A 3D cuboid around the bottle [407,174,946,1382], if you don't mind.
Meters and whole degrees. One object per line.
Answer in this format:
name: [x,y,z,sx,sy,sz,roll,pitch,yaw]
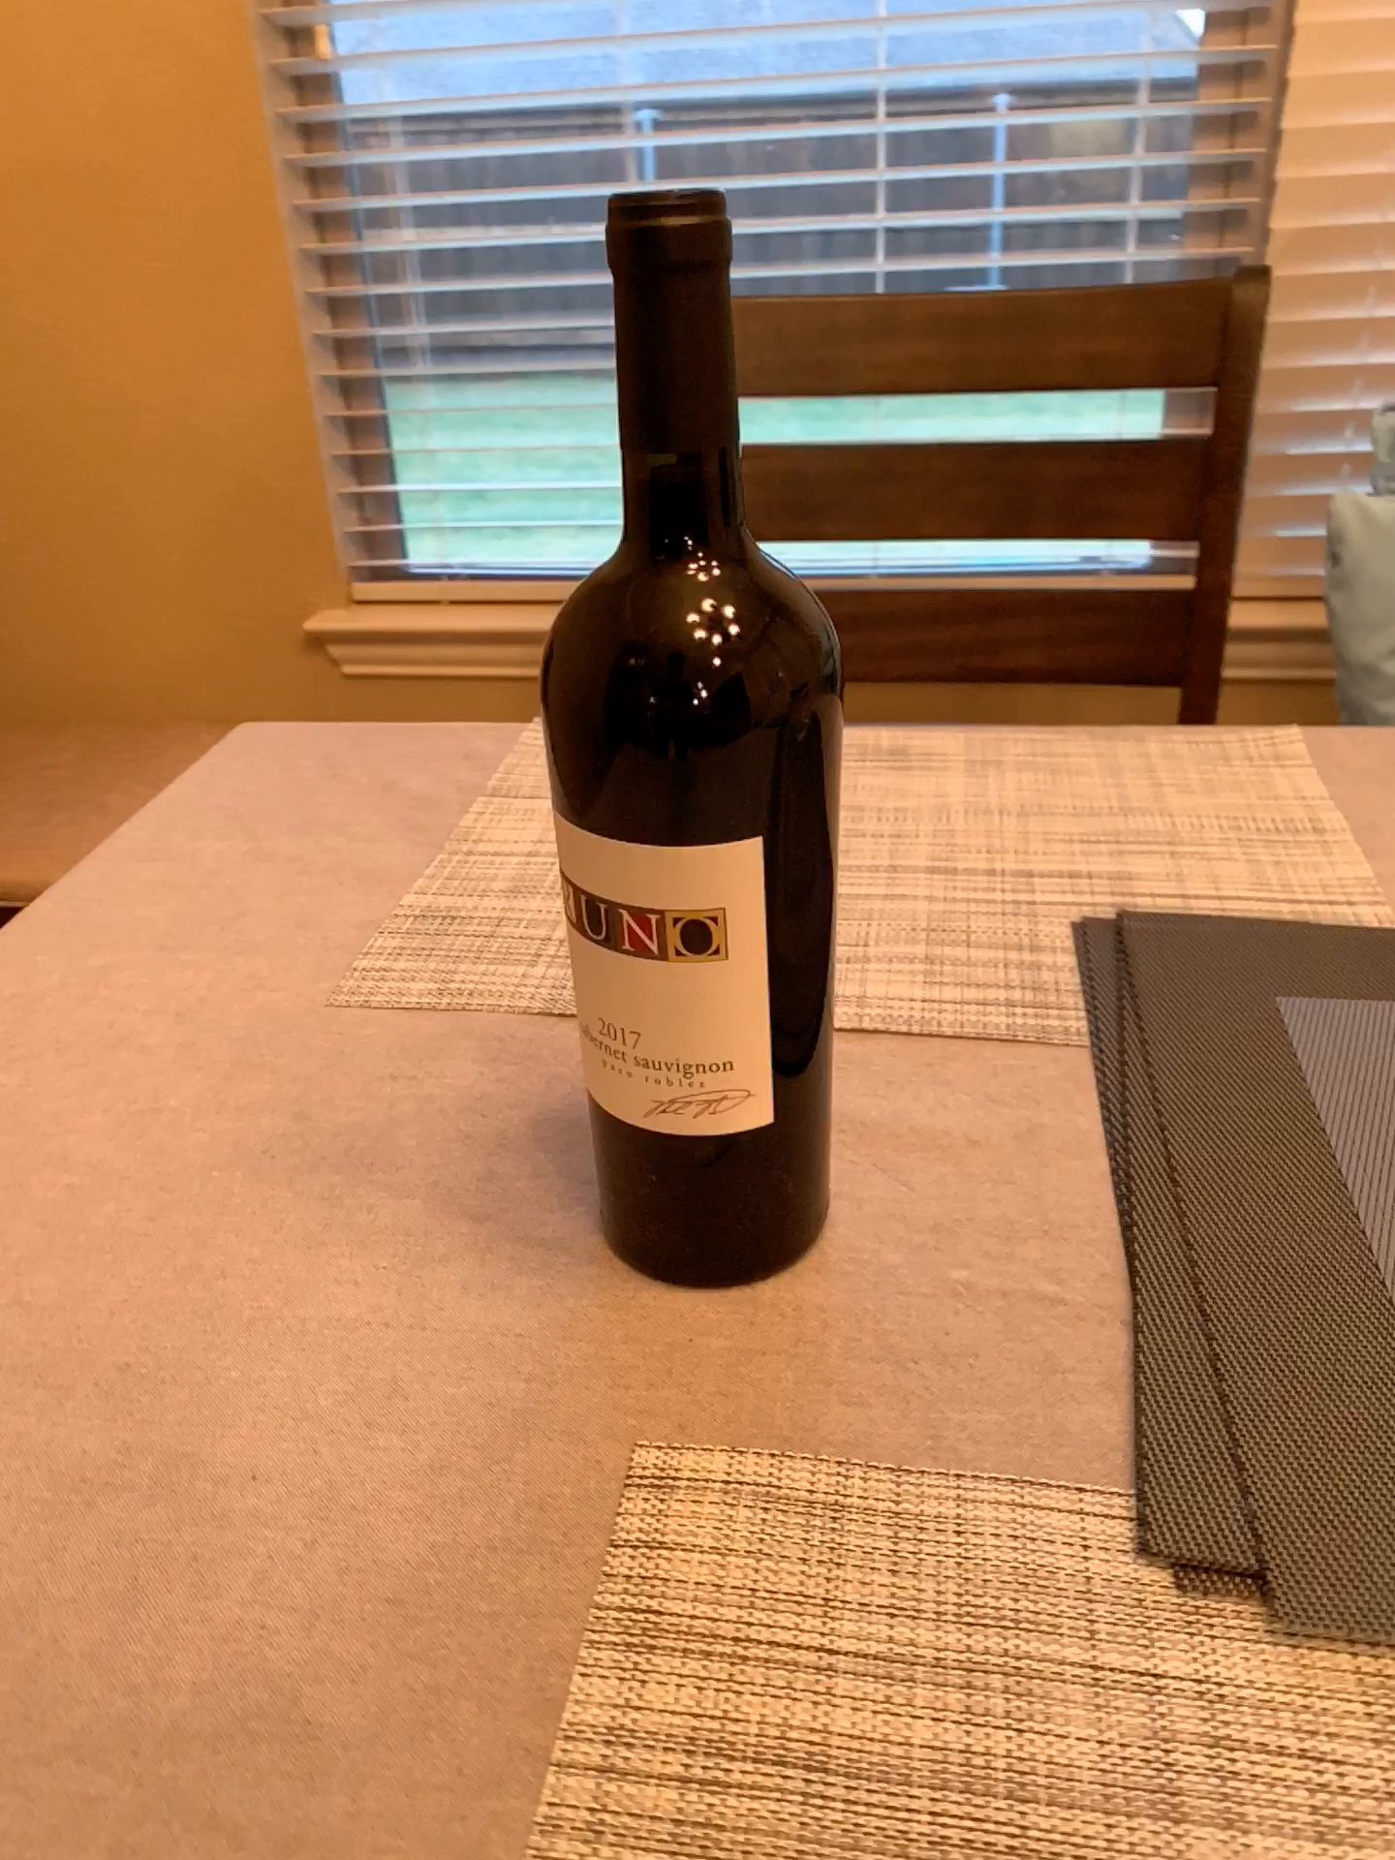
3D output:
bottle: [0.003,-0.034,0.391,0.084,0.298,0.090,-2,26,1]
